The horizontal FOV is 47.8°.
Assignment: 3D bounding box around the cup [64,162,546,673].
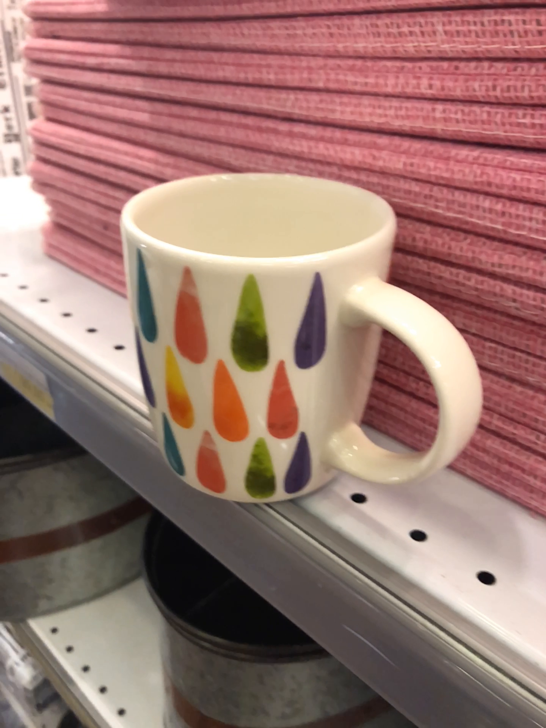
[{"bbox_3d":[0.013,-0.001,0.200,0.130,0.089,0.090,27,39,35],"label":"cup"}]
